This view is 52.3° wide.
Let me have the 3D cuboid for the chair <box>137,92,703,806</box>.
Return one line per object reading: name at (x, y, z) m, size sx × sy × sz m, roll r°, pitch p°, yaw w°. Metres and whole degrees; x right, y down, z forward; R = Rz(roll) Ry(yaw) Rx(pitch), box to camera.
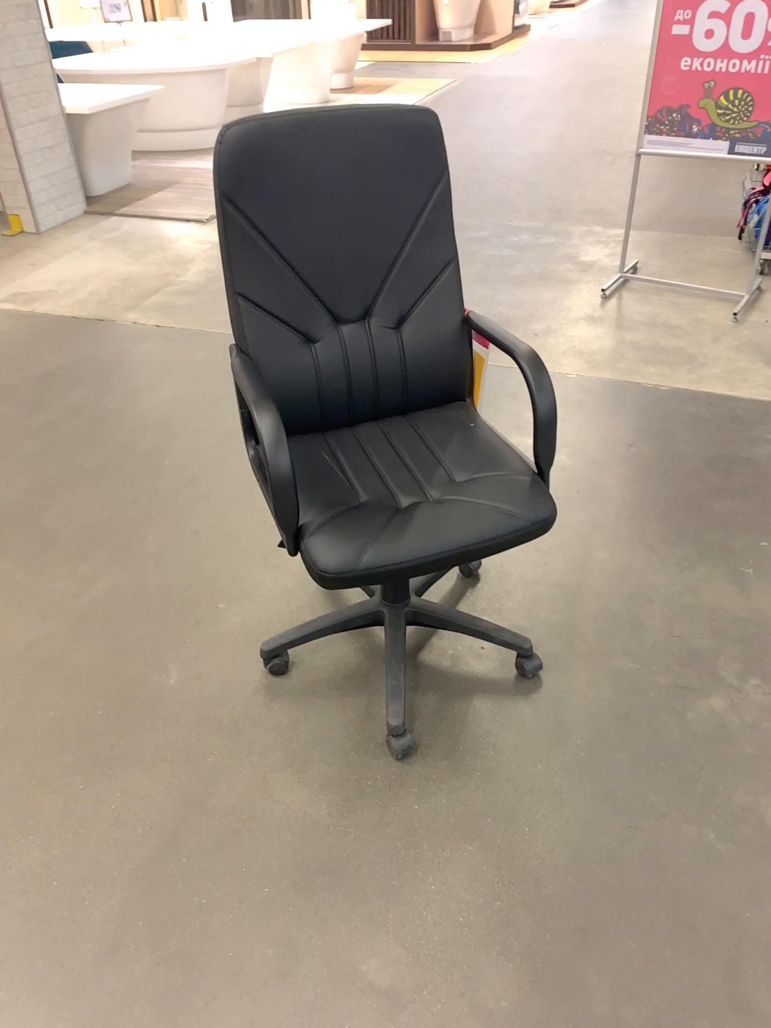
chair at (-0.009, -0.174, 1.600) m, size 0.670 × 1.084 × 0.814 m, roll -13°, pitch 37°, yaw -15°
